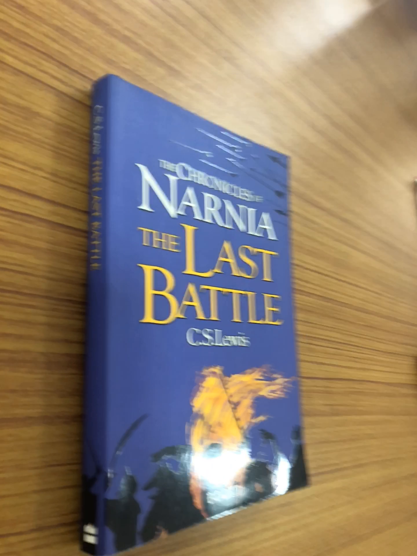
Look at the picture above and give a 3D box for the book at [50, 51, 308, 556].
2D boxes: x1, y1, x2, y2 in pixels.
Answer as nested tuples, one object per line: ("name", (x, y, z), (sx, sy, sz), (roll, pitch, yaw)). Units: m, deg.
("book", (-0.005, 0.012, 0.241), (0.141, 0.030, 0.200), (9, 75, -46))
